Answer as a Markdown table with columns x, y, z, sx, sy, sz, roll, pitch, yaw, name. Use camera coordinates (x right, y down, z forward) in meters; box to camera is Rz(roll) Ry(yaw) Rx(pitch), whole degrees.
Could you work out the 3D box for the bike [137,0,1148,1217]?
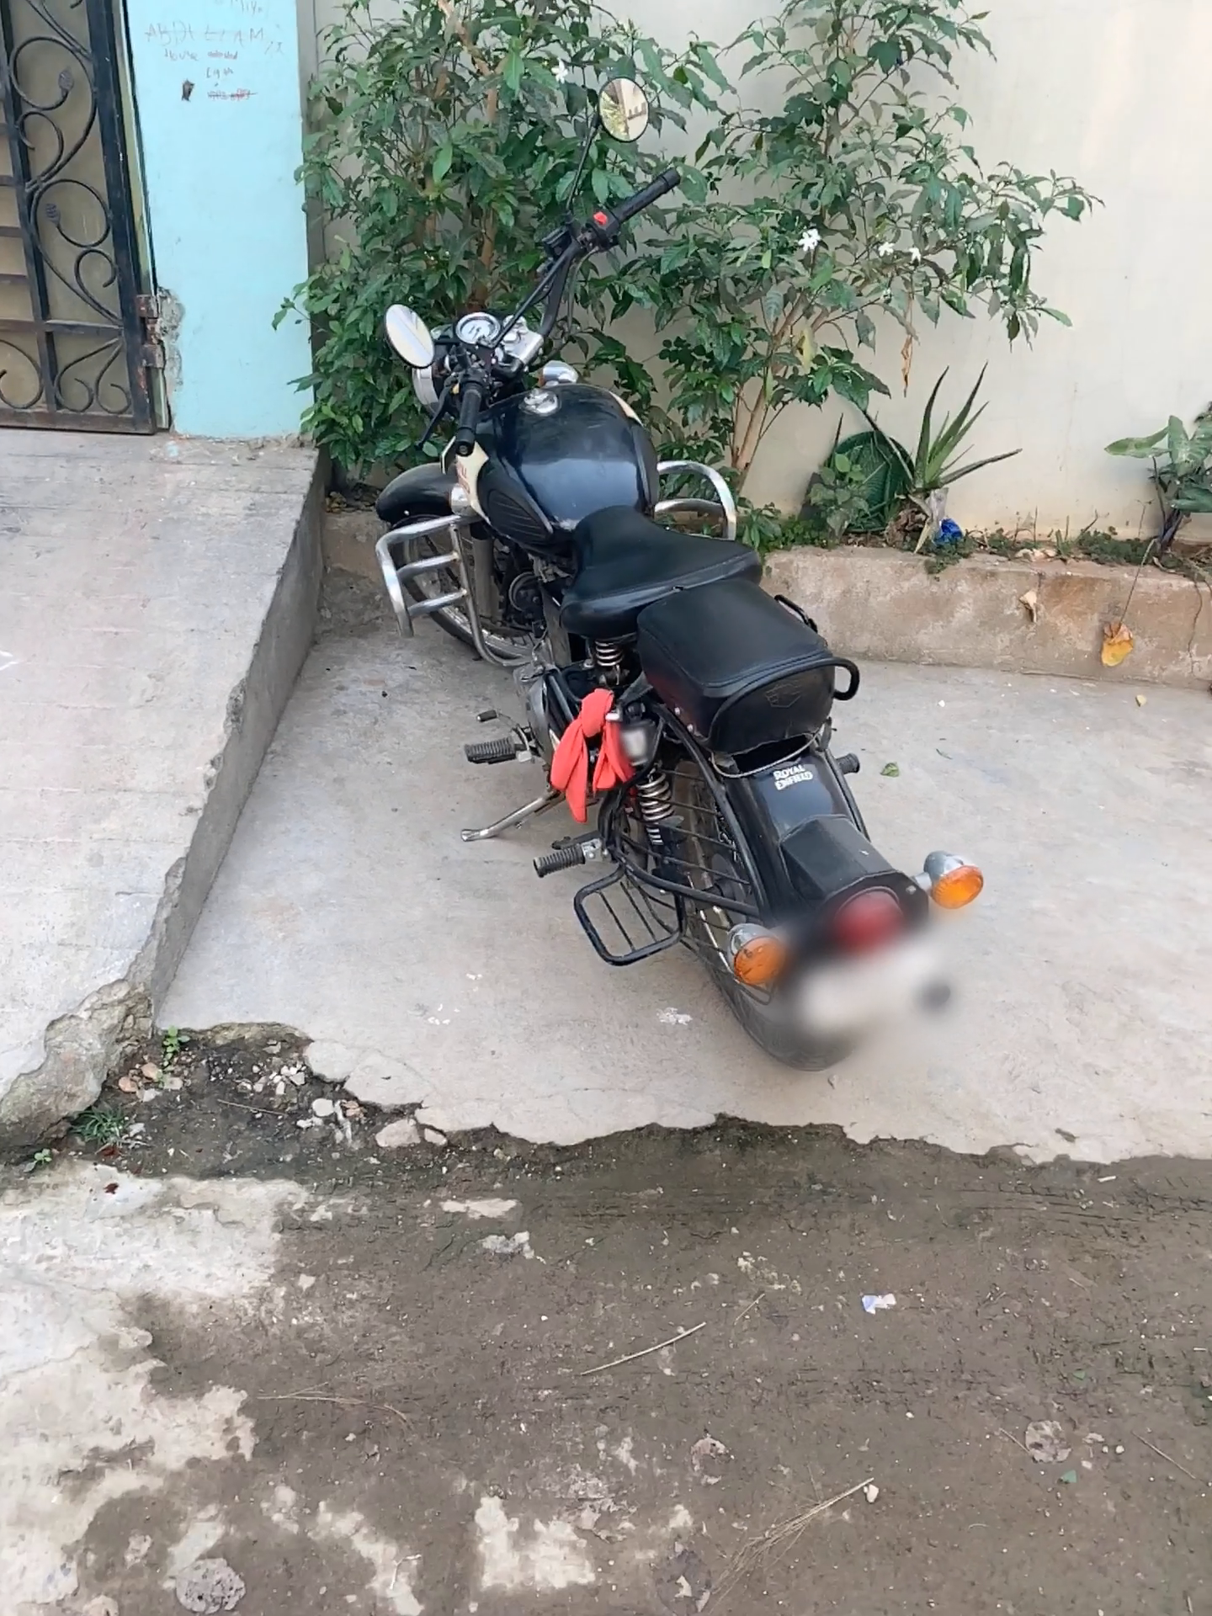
| x | y | z | sx | sy | sz | roll | pitch | yaw | name |
| --- | --- | --- | --- | --- | --- | --- | --- | --- | --- |
| -0.152 | -0.579 | 2.243 | 0.746 | 1.340 | 1.793 | -13 | 38 | -28 | bike |
